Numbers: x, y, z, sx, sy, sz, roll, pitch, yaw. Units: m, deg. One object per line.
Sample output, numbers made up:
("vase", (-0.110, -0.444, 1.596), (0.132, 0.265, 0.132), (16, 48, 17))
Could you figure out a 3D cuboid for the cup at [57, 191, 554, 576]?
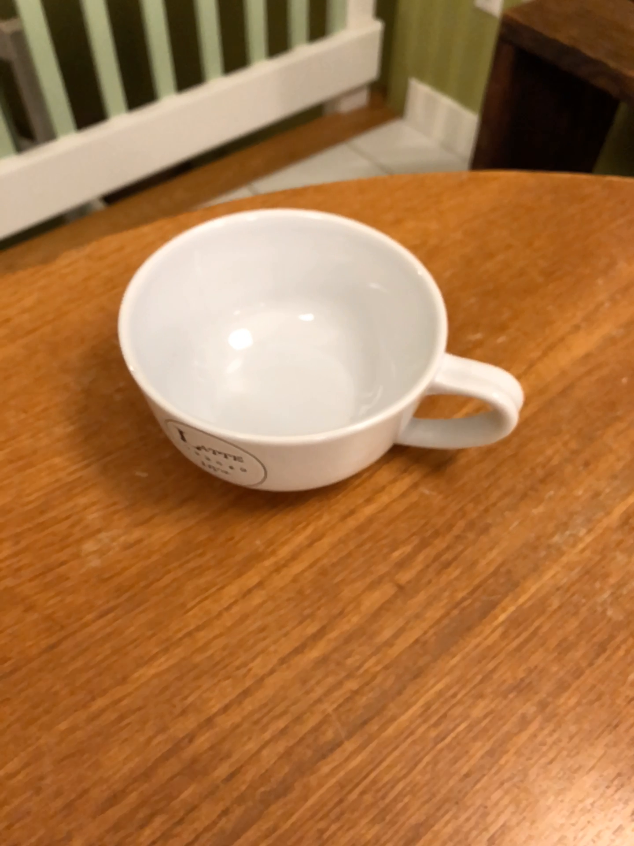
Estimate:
("cup", (0.005, -0.025, 0.317), (0.179, 0.055, 0.139), (11, 54, 6))
